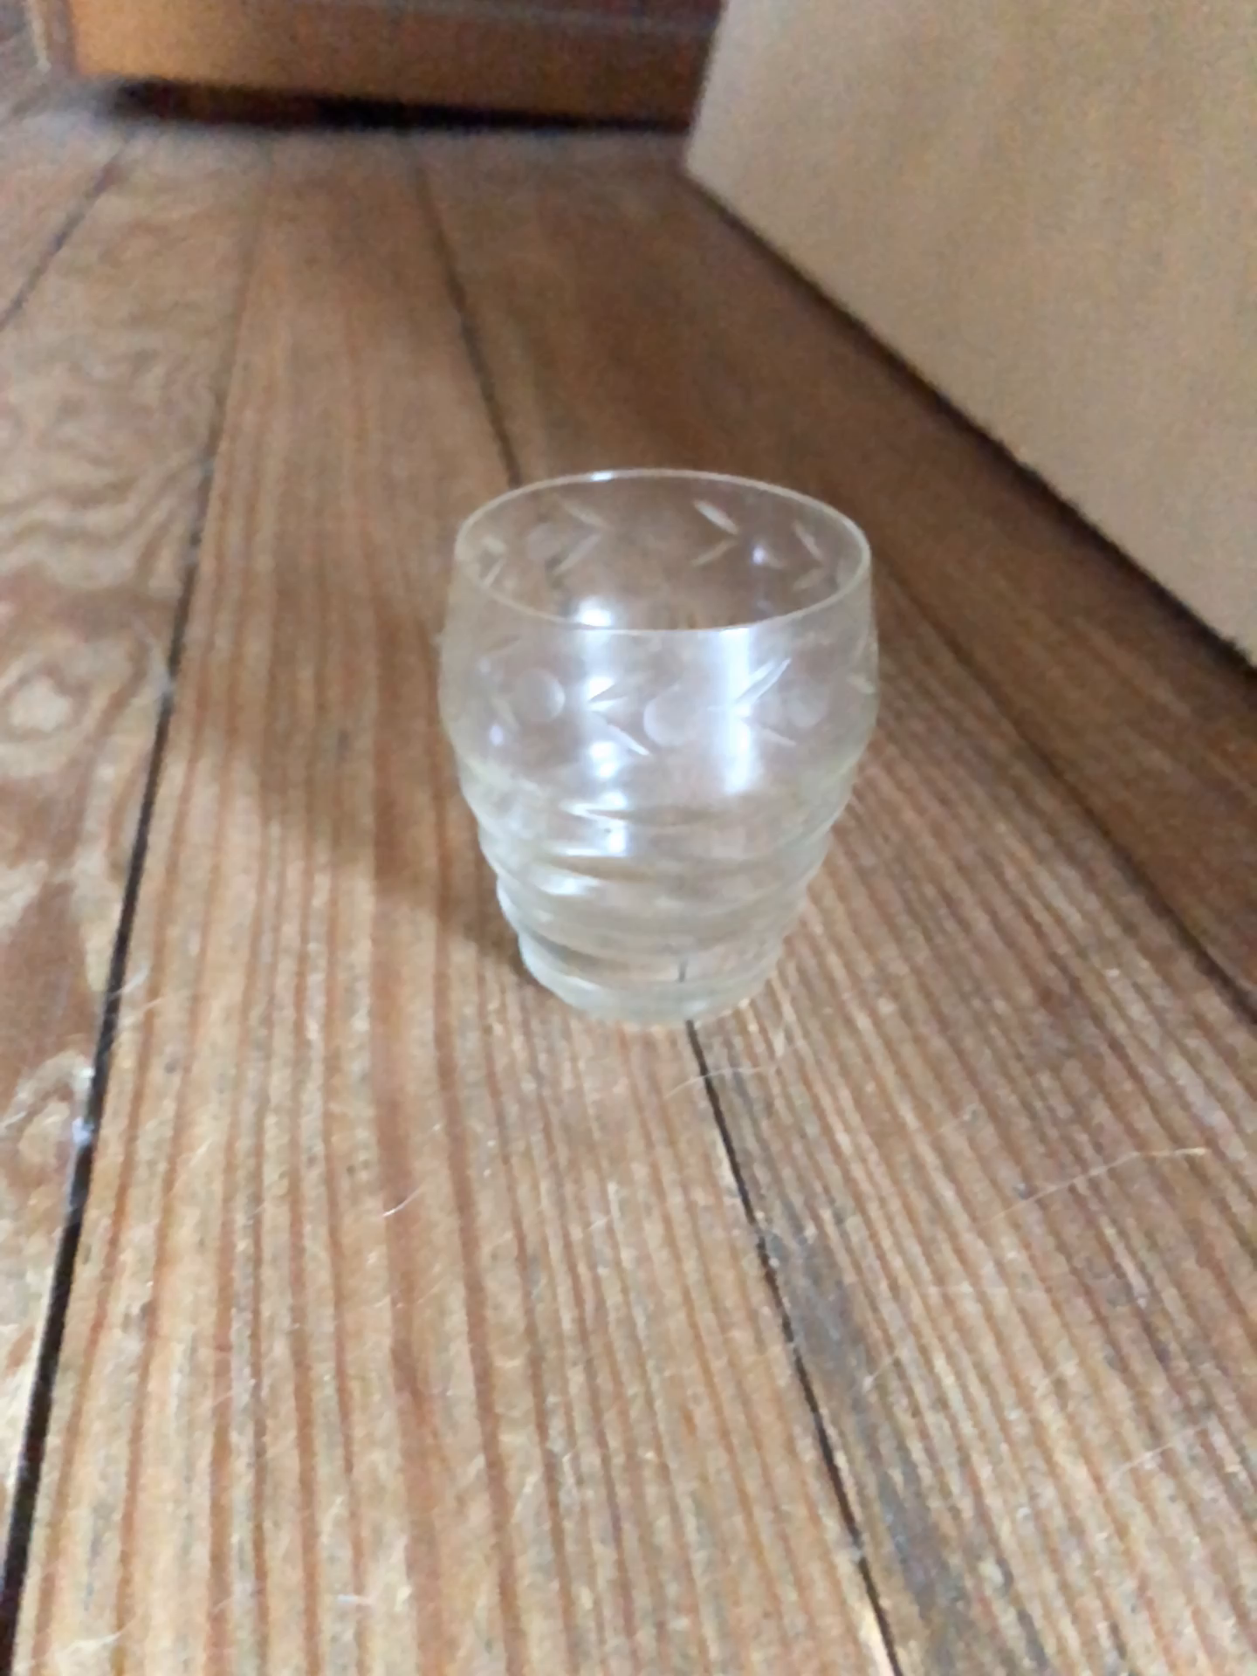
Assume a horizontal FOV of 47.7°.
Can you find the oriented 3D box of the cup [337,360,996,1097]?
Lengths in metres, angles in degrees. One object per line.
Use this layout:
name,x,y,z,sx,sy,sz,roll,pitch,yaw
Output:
cup,0.004,-0.016,0.170,0.050,0.060,0.050,0,34,0
